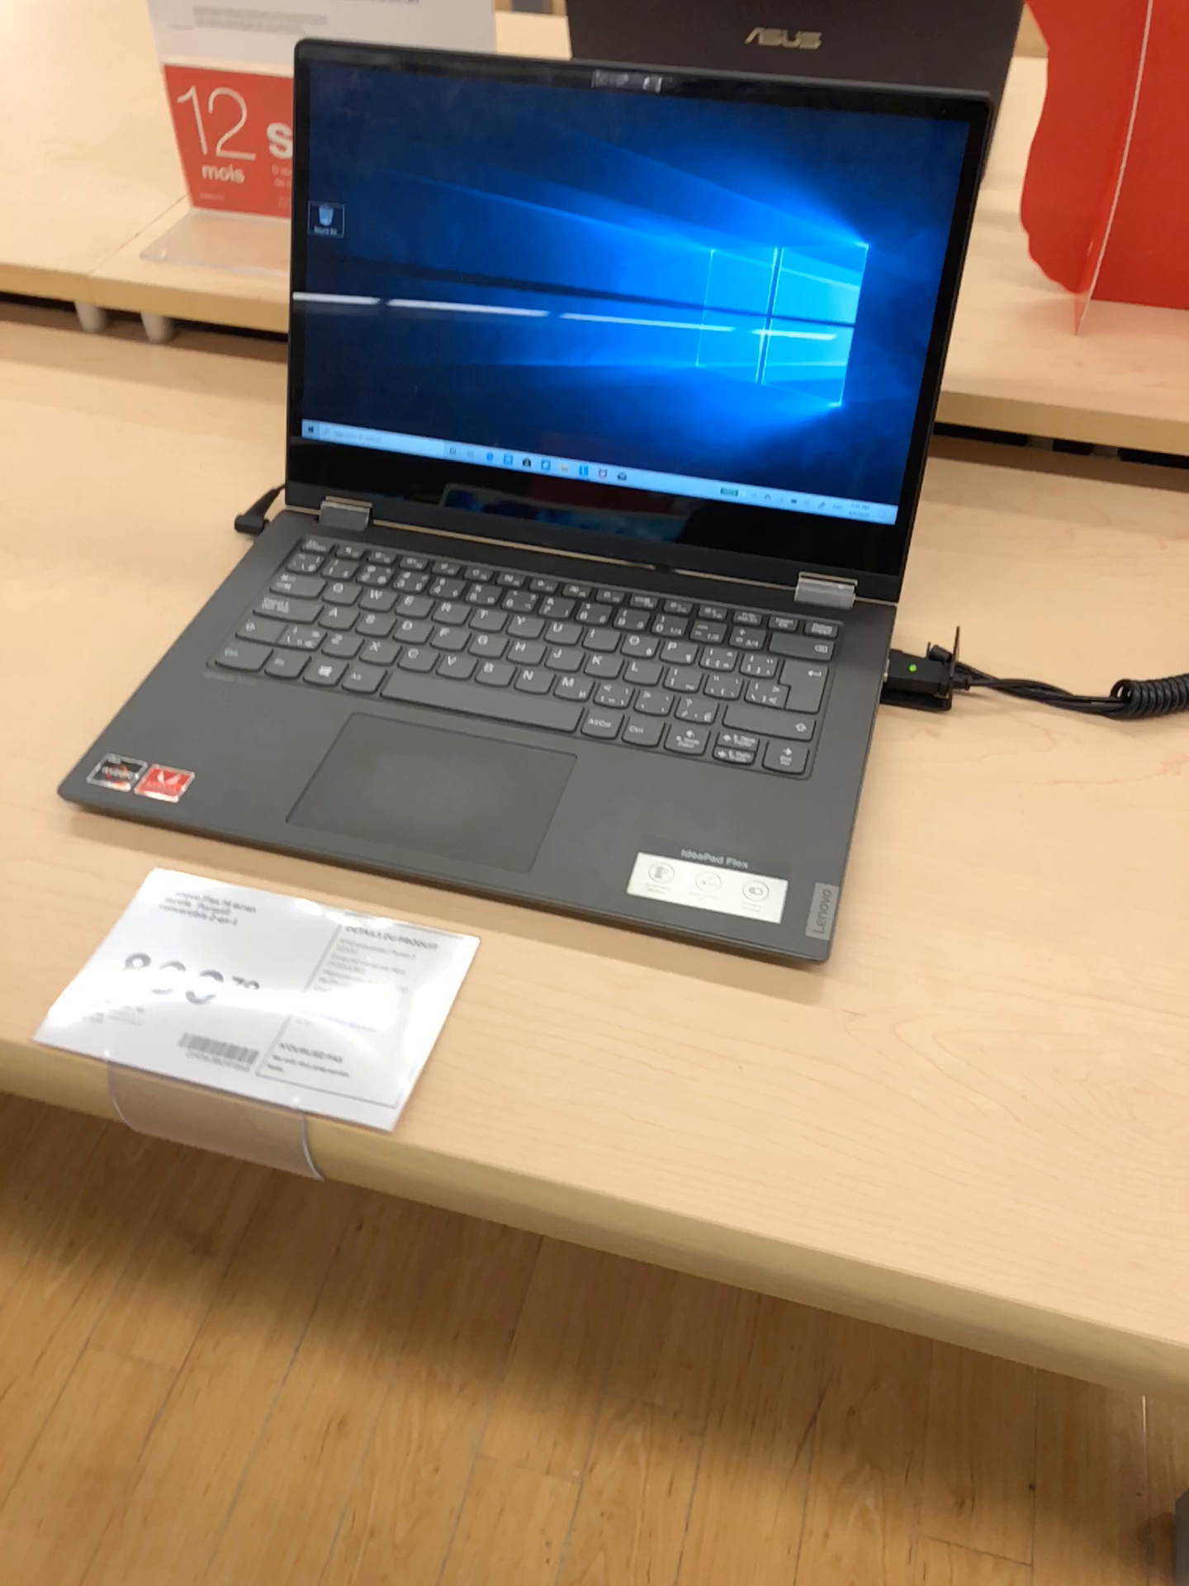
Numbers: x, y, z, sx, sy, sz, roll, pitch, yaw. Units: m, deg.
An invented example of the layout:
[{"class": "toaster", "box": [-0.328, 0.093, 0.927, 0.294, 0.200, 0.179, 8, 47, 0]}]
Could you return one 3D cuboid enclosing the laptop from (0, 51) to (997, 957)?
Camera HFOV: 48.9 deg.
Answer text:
[{"class": "laptop", "box": [-0.027, -0.144, 0.551, 0.319, 0.198, 0.307, 12, 47, 11]}]
